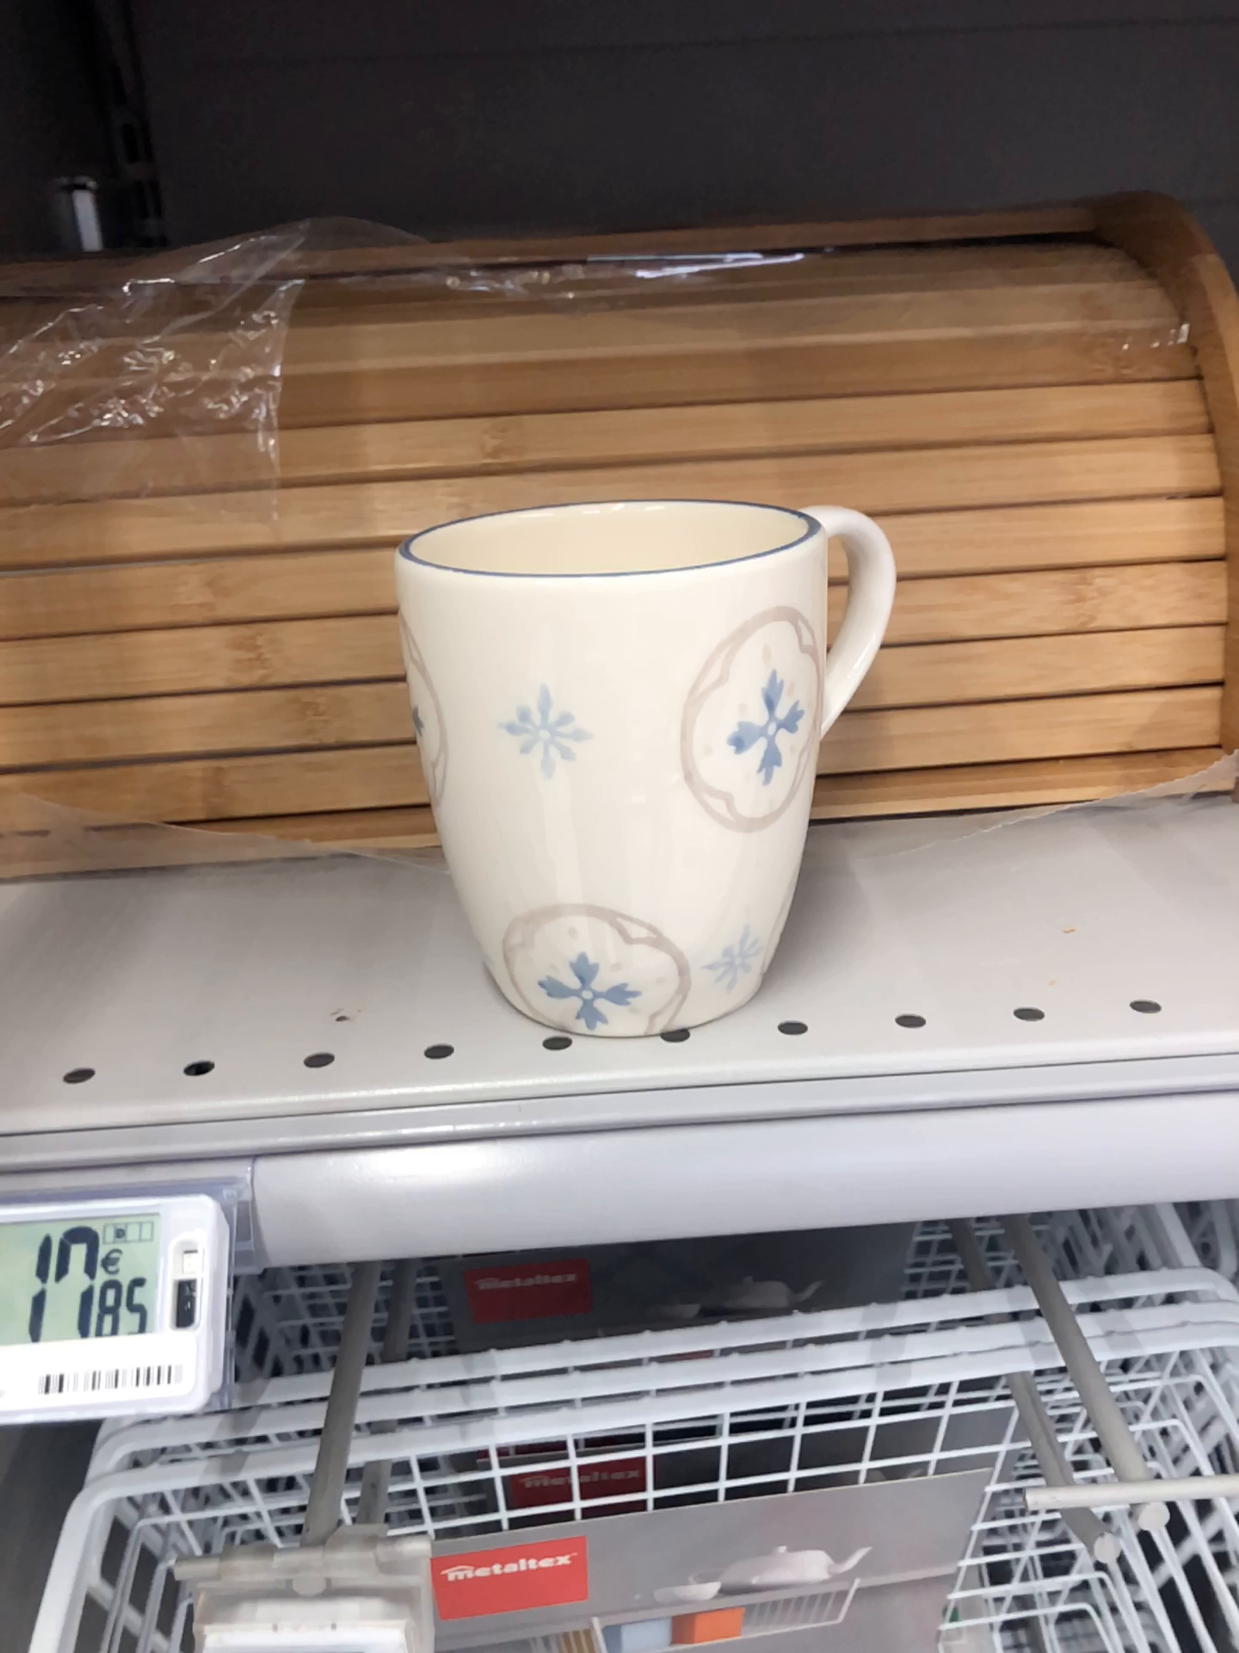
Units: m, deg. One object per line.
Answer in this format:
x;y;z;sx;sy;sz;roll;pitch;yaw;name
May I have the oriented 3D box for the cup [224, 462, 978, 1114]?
0.002;-0.021;0.297;0.134;0.089;0.083;-23;30;-39;cup
